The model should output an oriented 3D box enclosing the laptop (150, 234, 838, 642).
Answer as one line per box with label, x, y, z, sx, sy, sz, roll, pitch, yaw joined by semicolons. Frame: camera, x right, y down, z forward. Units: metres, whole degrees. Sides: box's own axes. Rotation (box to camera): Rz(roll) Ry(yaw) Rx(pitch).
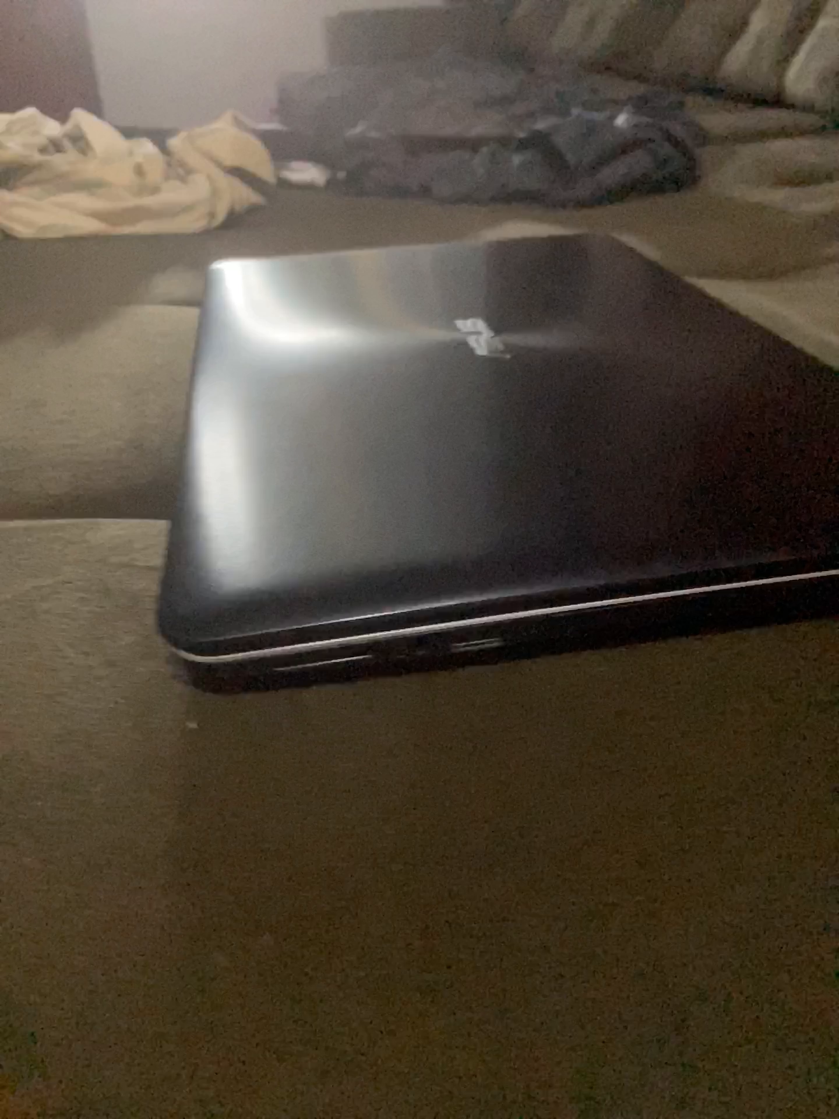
laptop;0.018;-0.094;0.391;0.234;0.004;0.372;-7;33;-6
